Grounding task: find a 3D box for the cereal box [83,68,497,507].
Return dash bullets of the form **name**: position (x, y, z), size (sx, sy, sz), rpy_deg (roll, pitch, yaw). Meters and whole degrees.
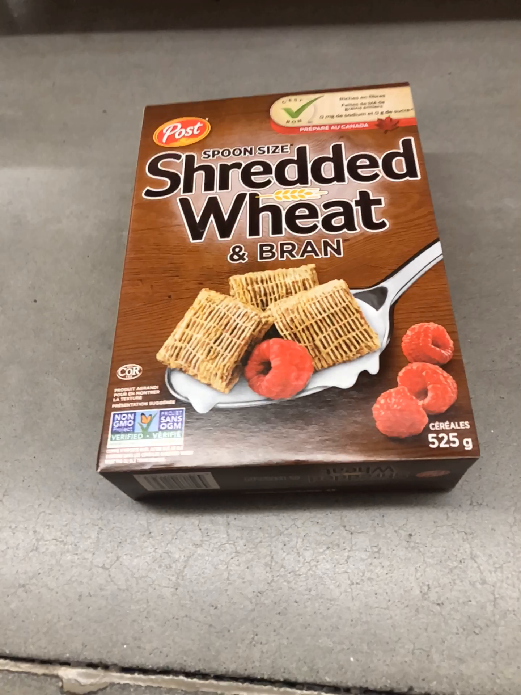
- **cereal box**: position (0.014, -0.049, 0.373), size (0.200, 0.070, 0.281), rpy_deg (-3, 62, 6)
